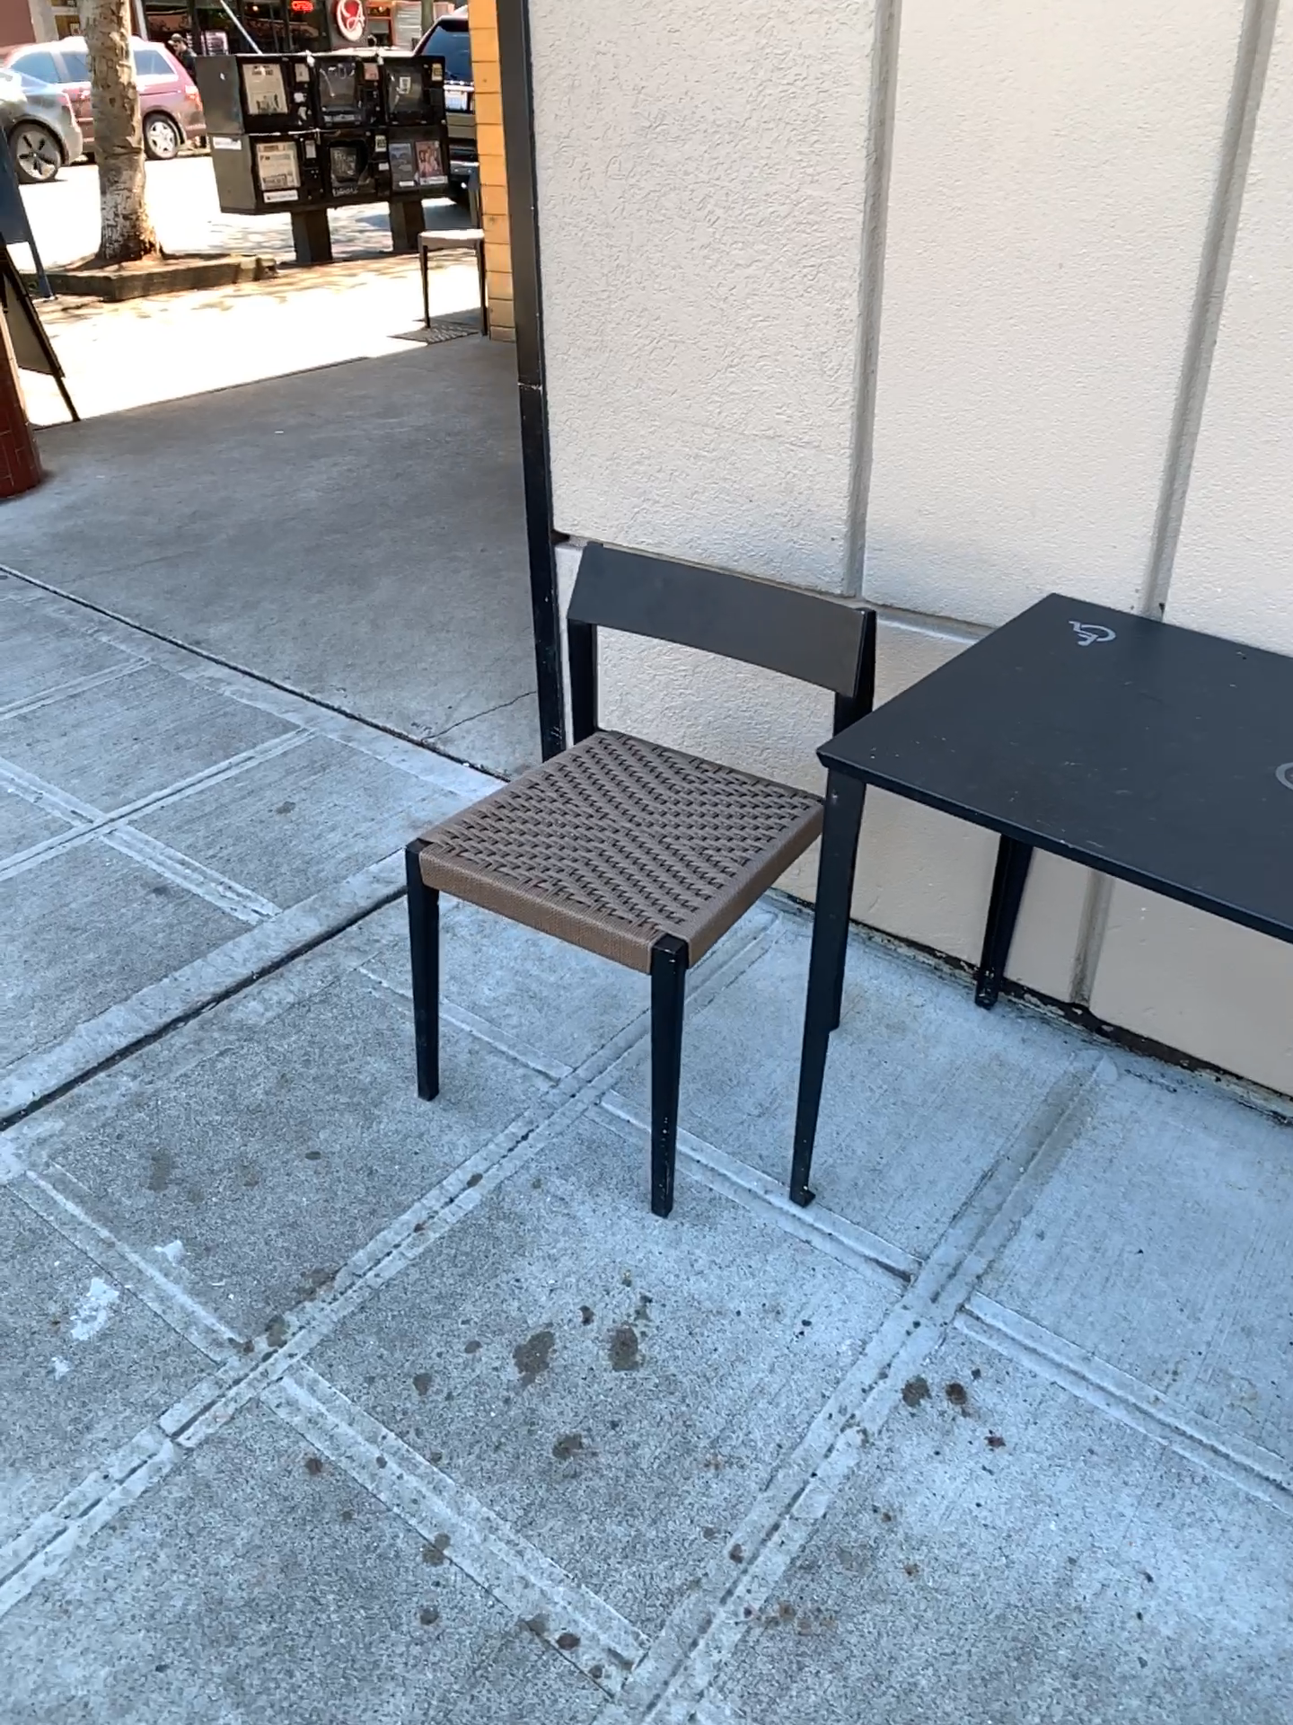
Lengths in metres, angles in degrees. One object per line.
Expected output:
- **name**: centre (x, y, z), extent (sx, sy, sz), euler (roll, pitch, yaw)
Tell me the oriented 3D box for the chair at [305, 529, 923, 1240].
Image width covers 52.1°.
- **chair**: centre (-0.019, -0.014, 1.804), extent (0.552, 0.666, 0.552), euler (18, 35, 29)
